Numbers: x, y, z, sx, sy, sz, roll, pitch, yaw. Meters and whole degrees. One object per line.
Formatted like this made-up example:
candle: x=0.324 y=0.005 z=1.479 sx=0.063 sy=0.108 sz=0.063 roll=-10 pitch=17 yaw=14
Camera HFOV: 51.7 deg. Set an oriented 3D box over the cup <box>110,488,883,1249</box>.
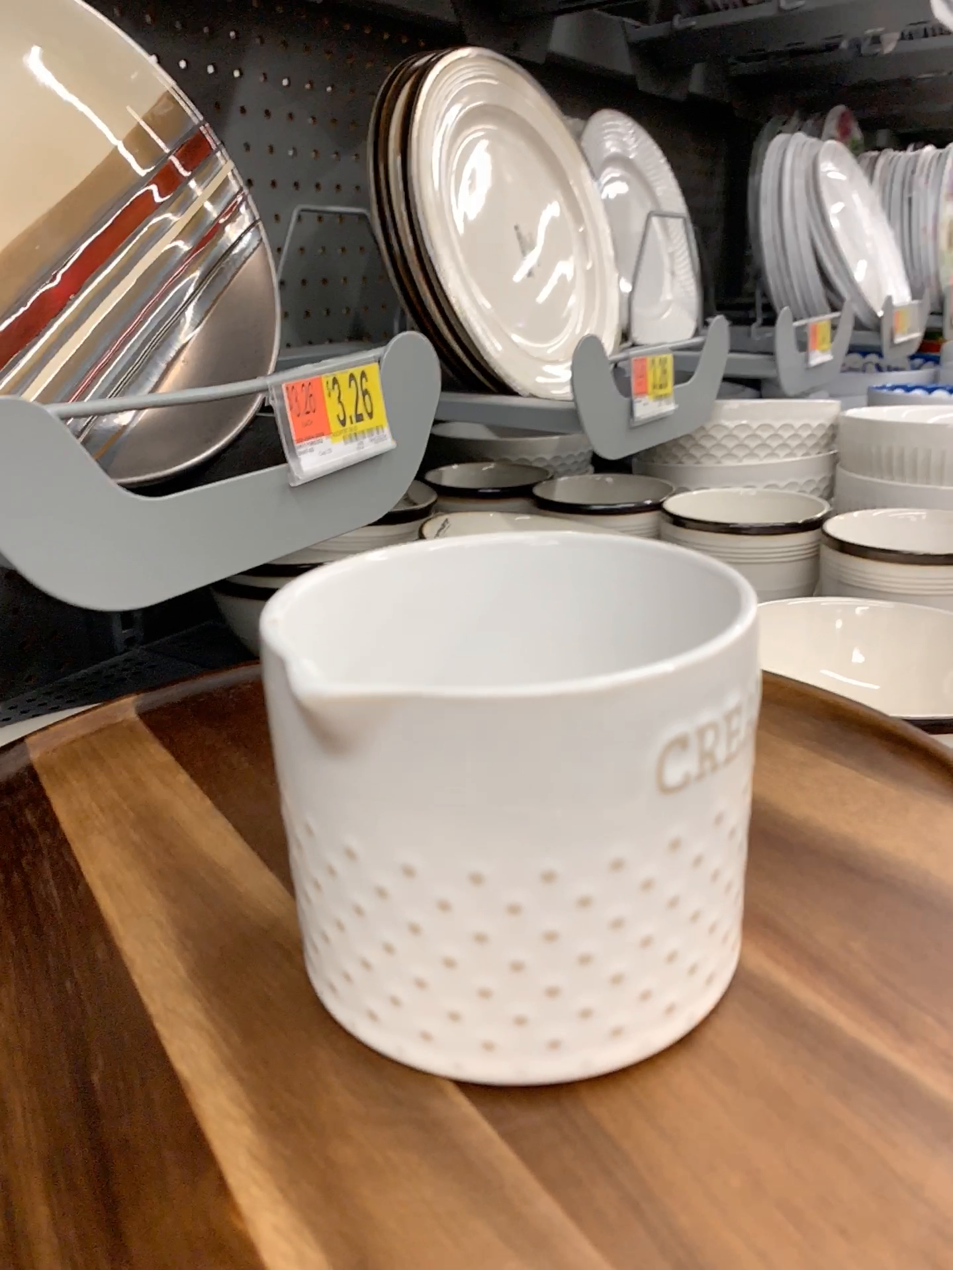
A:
cup: x=0.015 y=0.029 z=0.234 sx=0.100 sy=0.090 sz=0.150 roll=15 pitch=26 yaw=37
